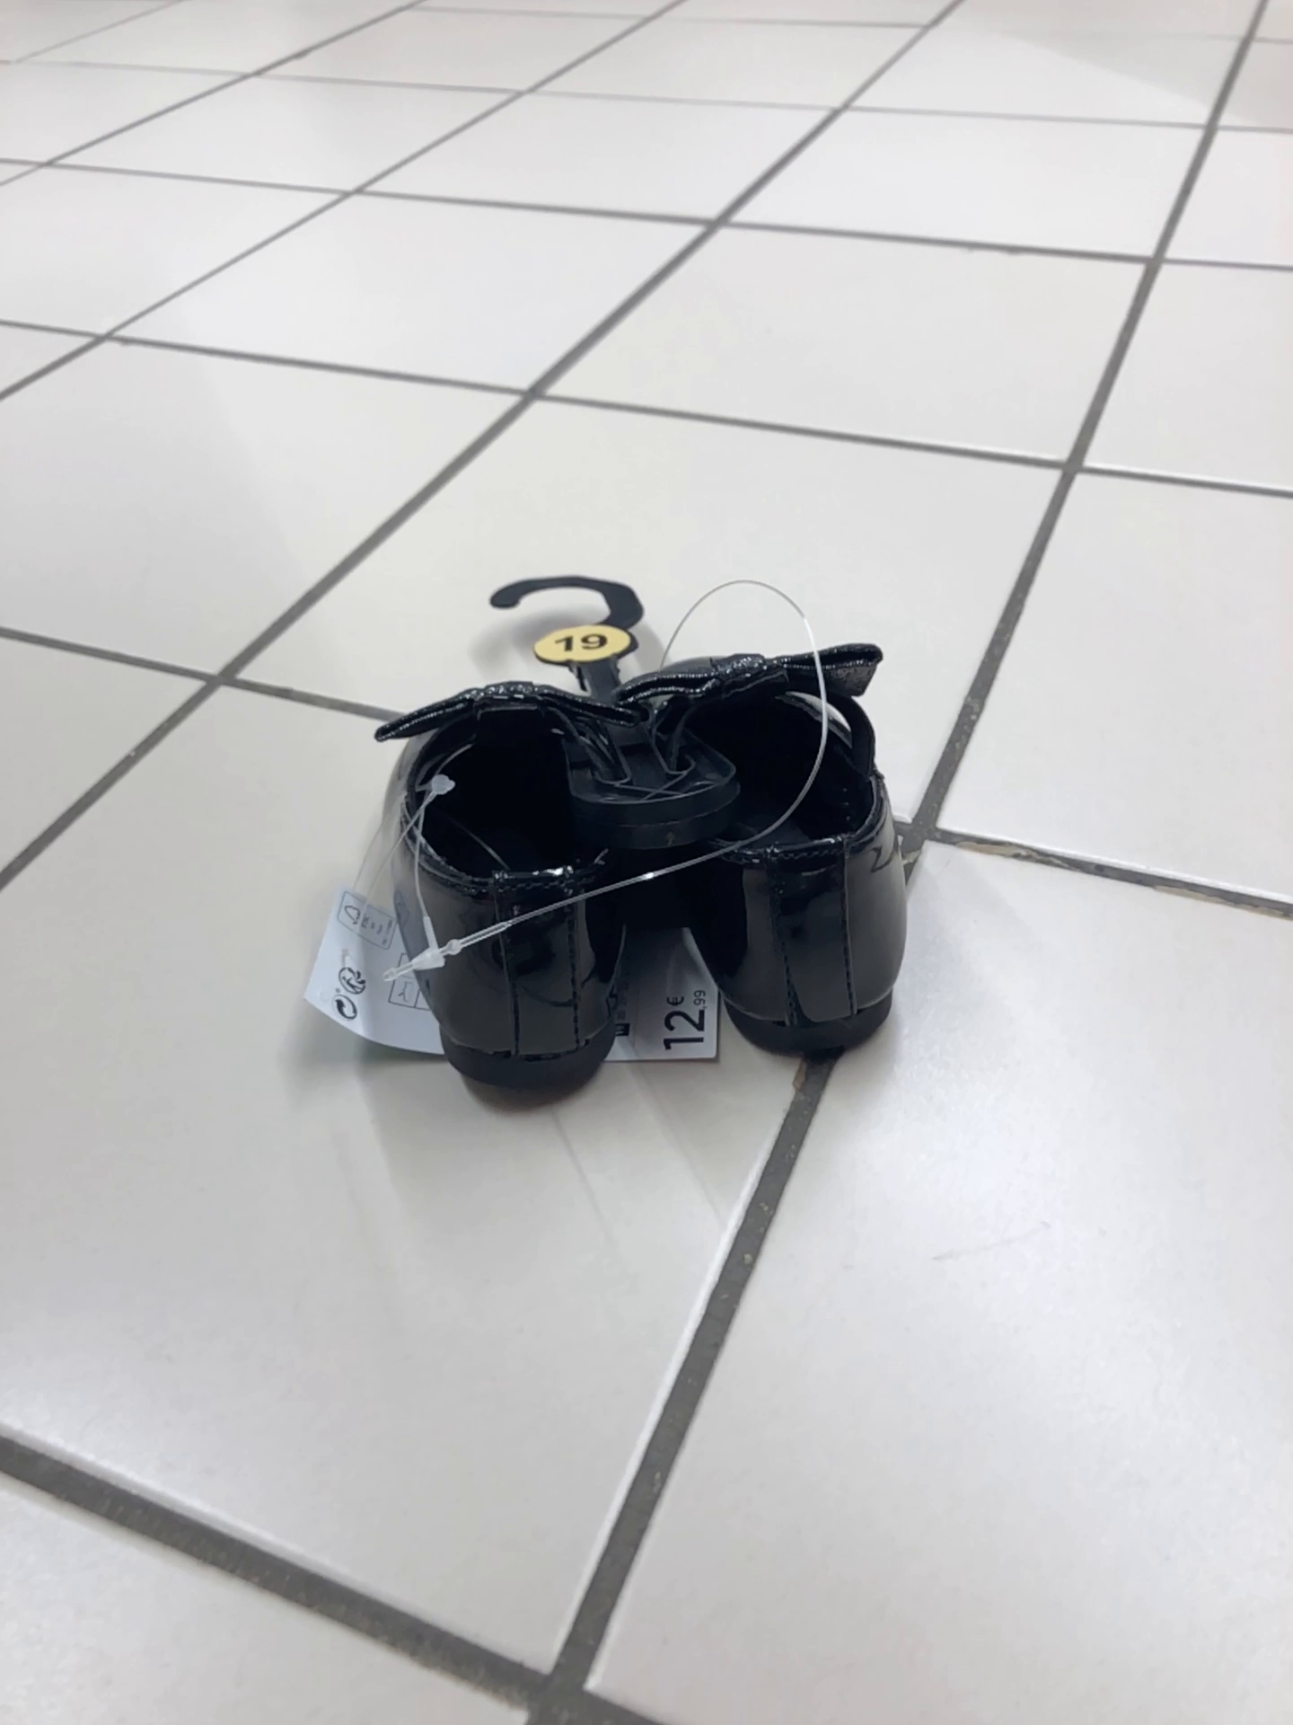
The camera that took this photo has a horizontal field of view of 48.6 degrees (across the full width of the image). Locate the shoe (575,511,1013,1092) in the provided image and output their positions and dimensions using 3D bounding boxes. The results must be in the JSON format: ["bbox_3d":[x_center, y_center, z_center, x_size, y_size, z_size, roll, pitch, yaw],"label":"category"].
[{"bbox_3d":[0.025,-0.020,0.310,0.061,0.052,0.125,-9,41,-5],"label":"shoe"}]

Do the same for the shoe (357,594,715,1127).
[{"bbox_3d":[-0.028,-0.007,0.310,0.061,0.037,0.123,-9,41,-5],"label":"shoe"}]
